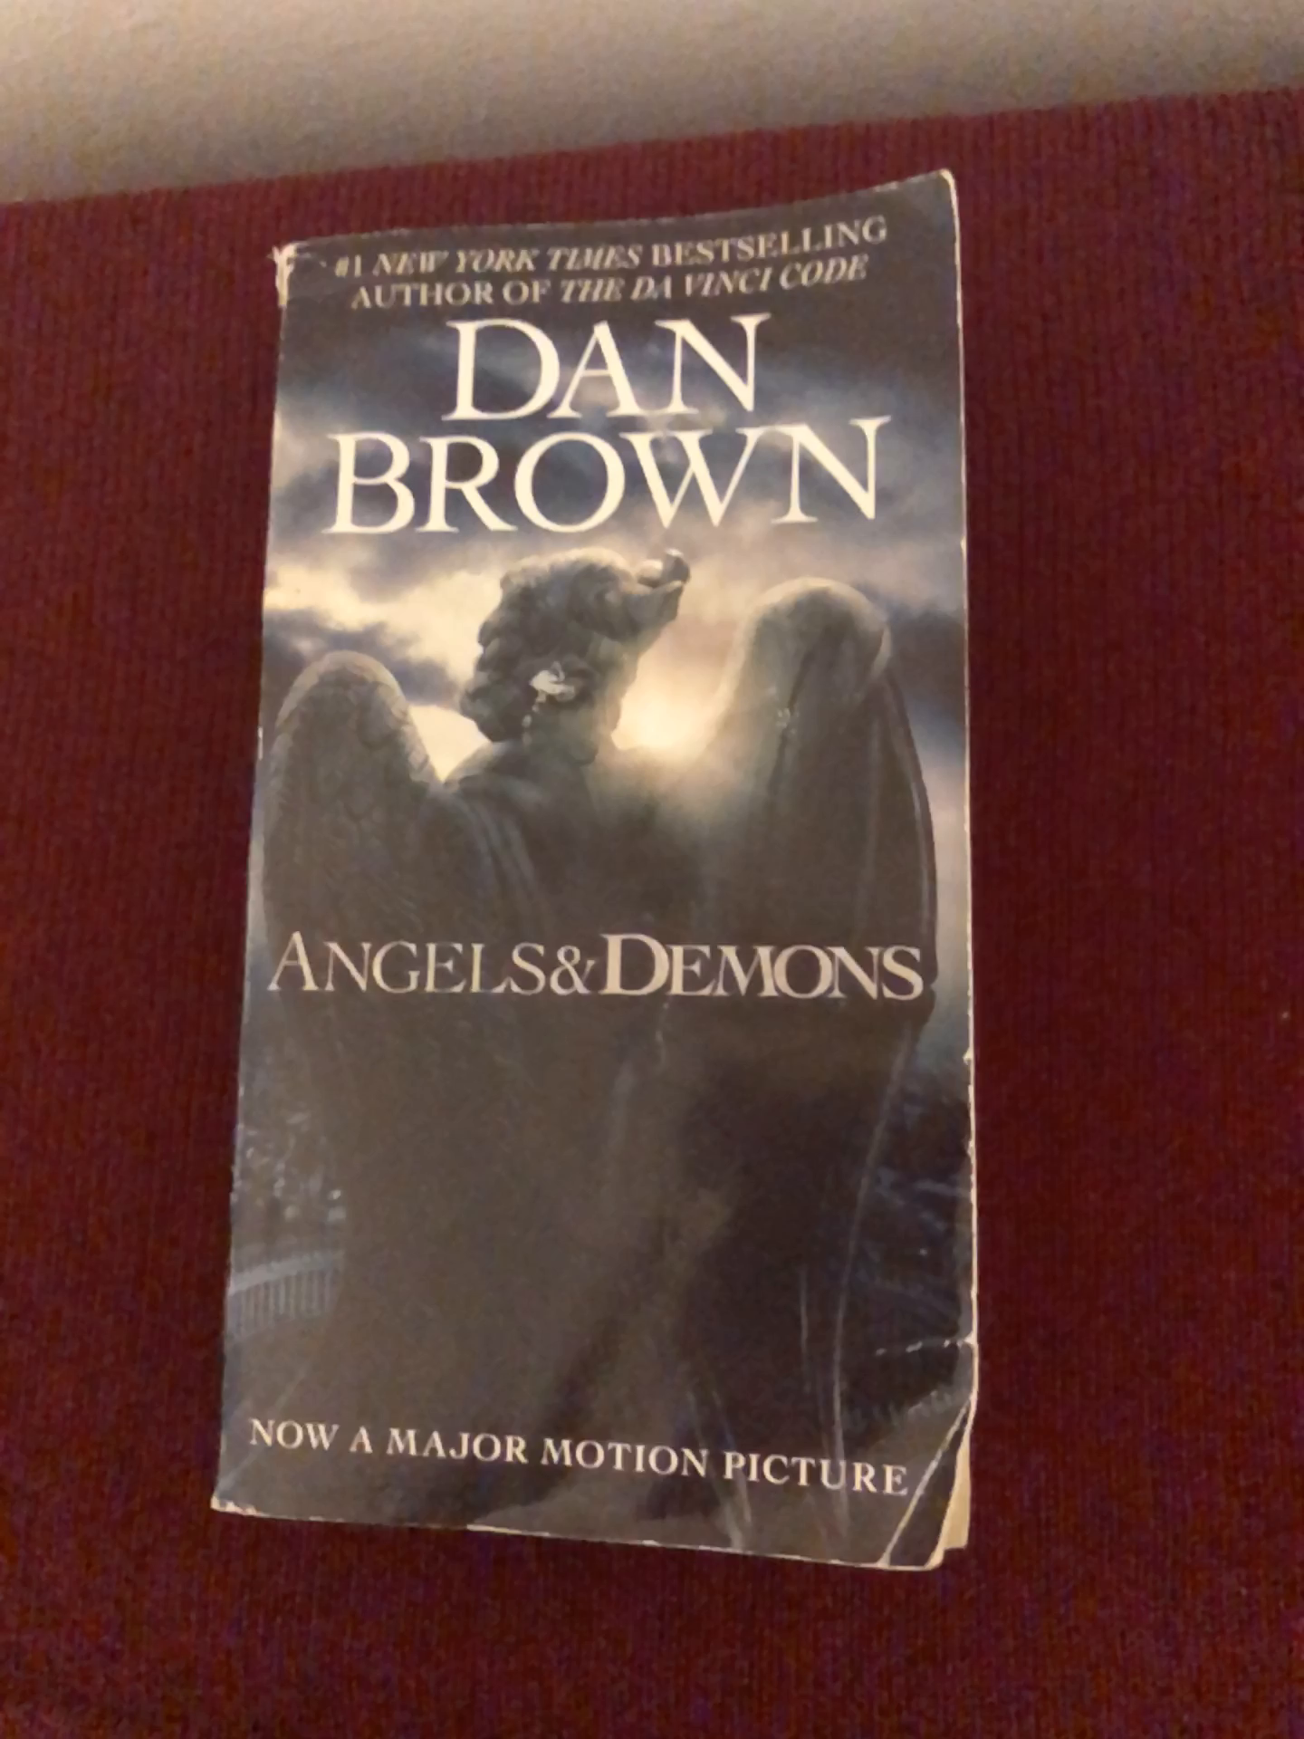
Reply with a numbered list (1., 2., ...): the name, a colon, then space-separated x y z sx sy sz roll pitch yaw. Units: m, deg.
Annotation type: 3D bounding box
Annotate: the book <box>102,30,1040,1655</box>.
1. book: -0.009 -0.008 0.217 0.120 0.040 0.210 -1 81 11
